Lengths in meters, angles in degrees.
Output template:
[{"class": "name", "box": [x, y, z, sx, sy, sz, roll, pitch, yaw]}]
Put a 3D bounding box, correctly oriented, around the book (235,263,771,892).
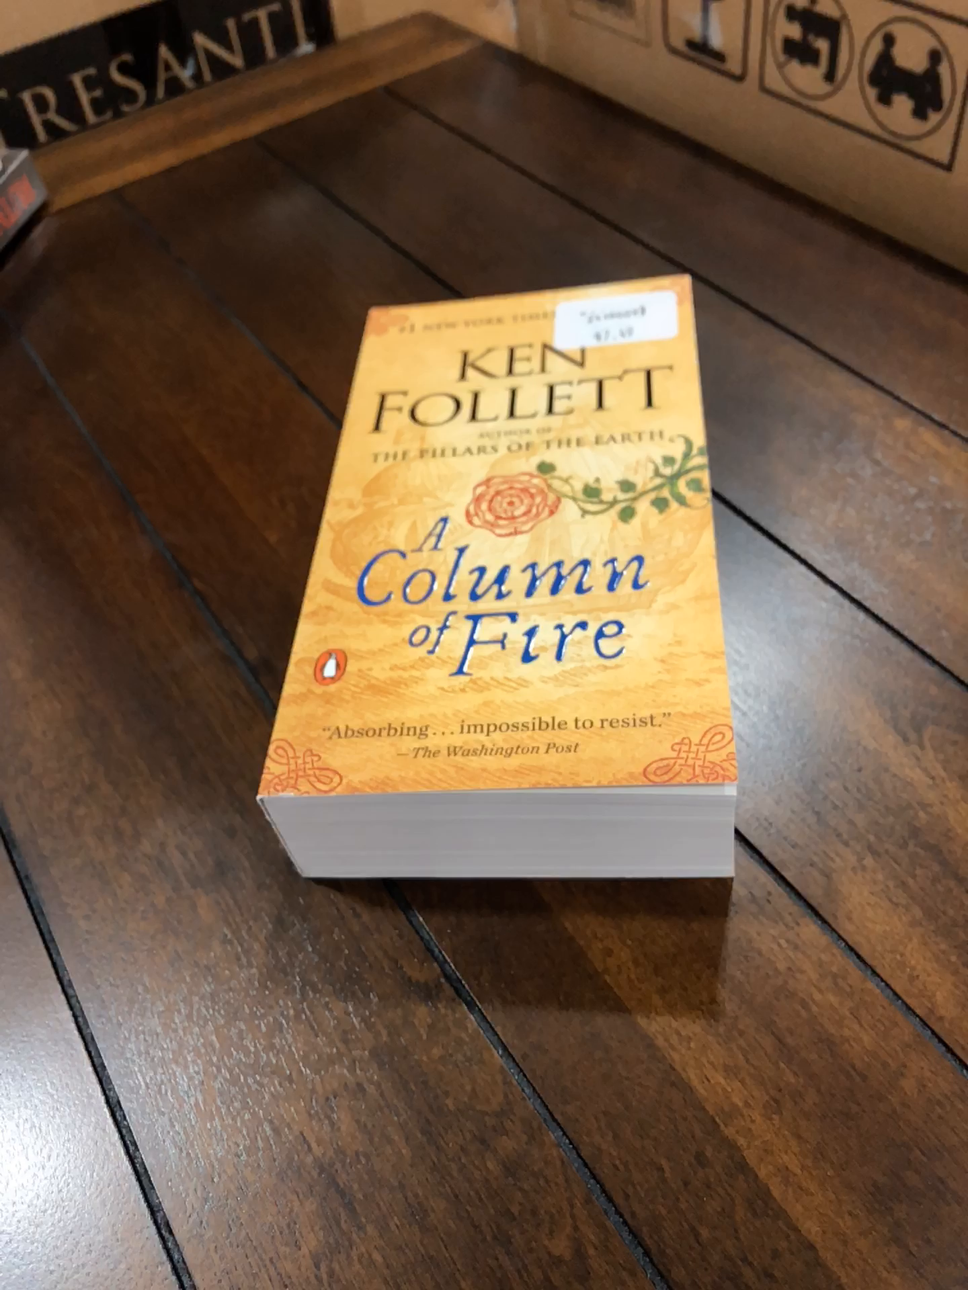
[{"class": "book", "box": [0.011, -0.031, 0.299, 0.110, 0.040, 0.195, -1, 50, 8]}]
